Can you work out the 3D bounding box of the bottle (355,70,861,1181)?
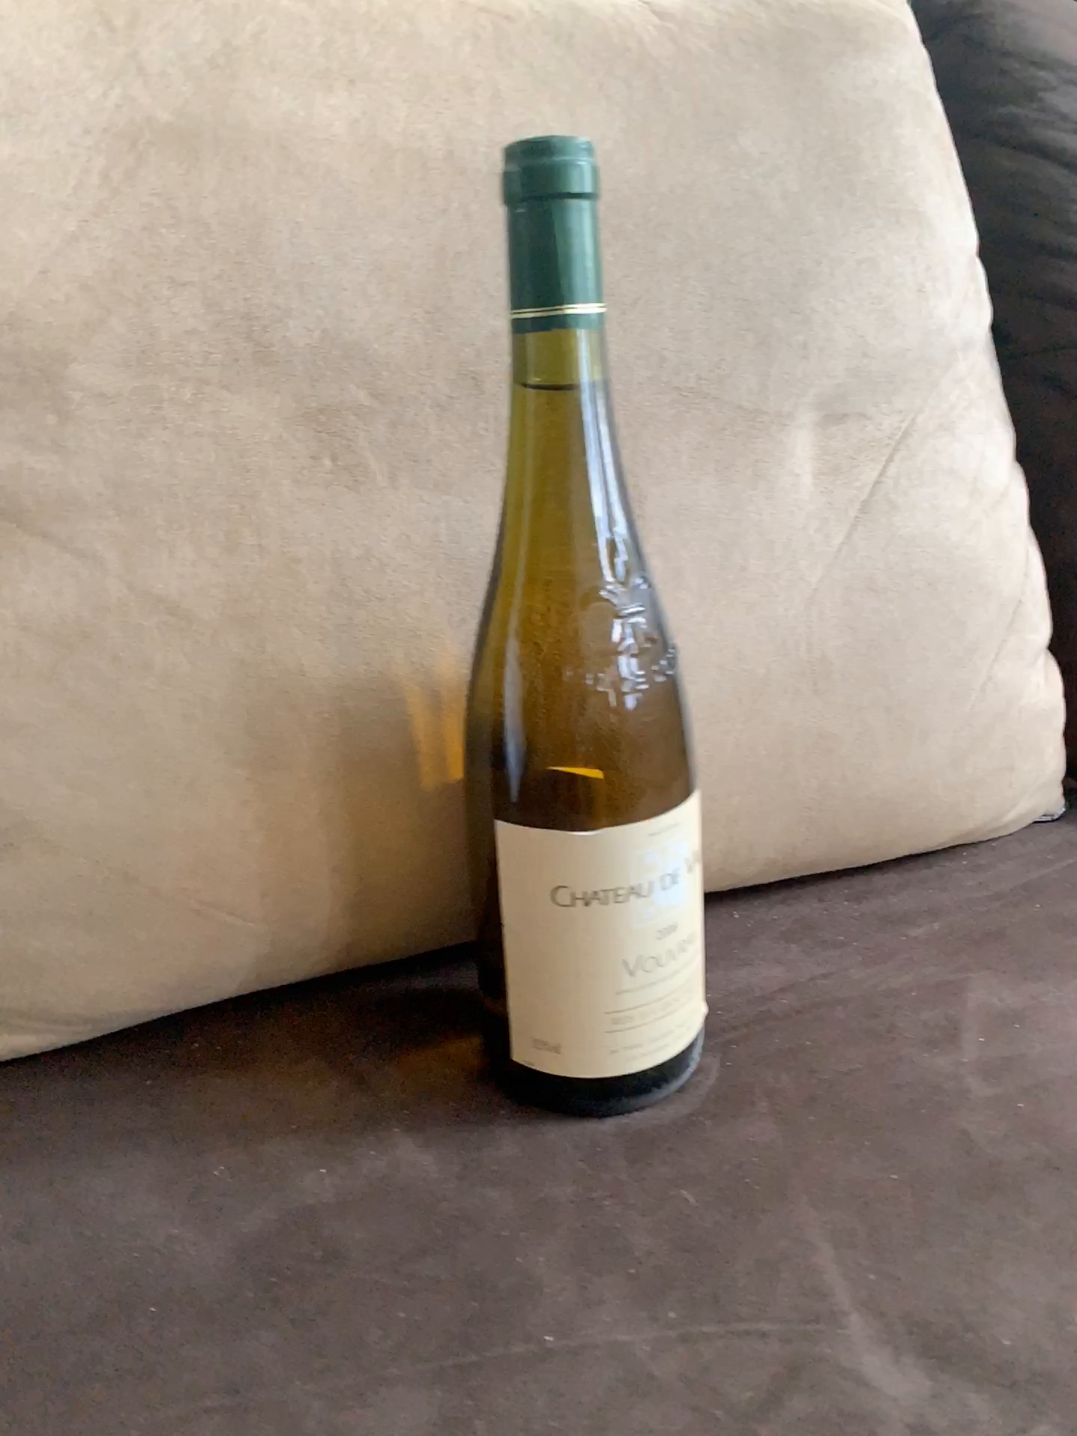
[{"bbox_3d":[0.019,-0.021,0.355,0.100,0.308,0.090,-19,29,-37],"label":"bottle"}]
